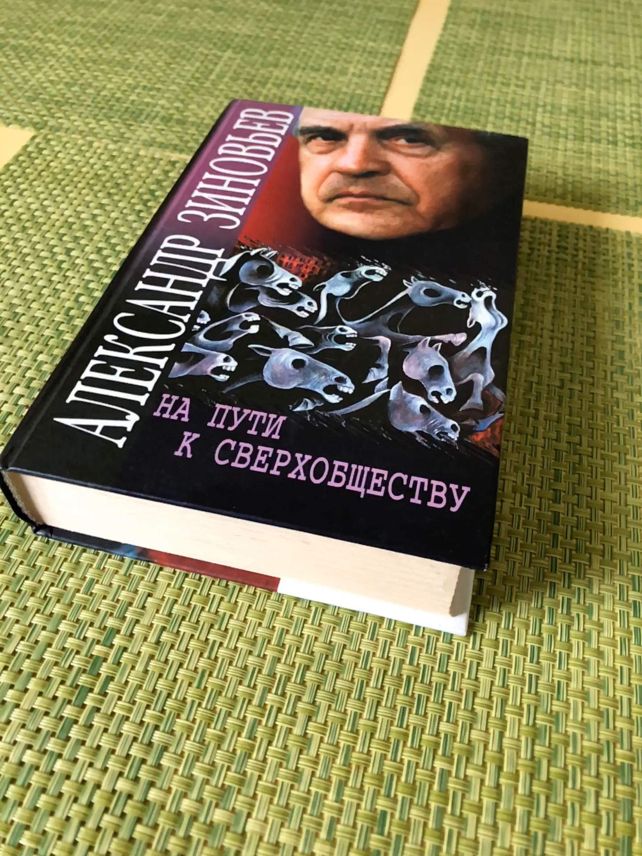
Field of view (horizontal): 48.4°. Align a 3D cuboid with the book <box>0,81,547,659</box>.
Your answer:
[{"bbox_3d":[-0.008,-0.042,0.244,0.150,0.040,0.201,11,52,7],"label":"book"}]
